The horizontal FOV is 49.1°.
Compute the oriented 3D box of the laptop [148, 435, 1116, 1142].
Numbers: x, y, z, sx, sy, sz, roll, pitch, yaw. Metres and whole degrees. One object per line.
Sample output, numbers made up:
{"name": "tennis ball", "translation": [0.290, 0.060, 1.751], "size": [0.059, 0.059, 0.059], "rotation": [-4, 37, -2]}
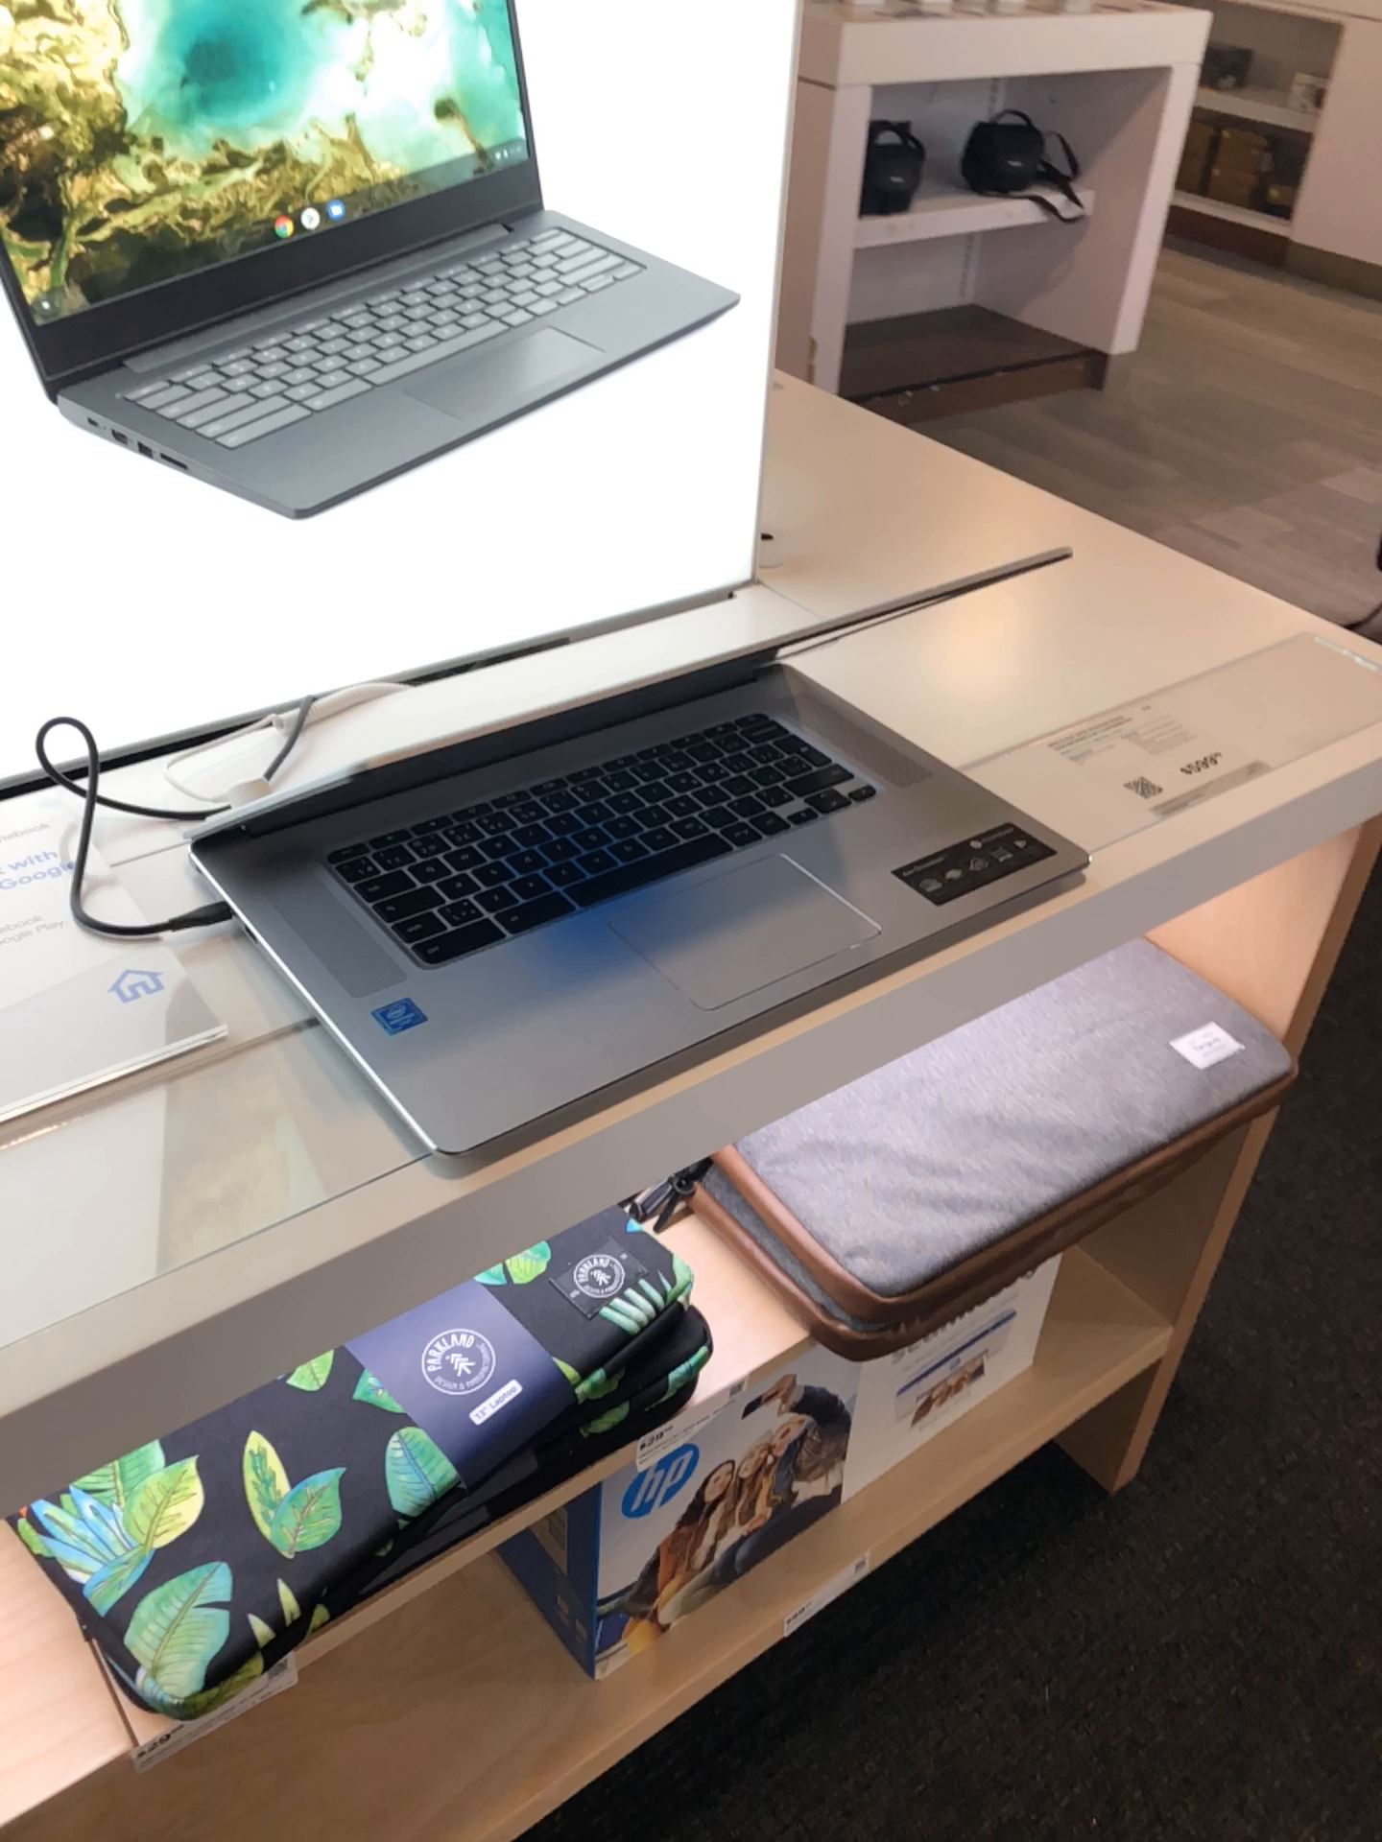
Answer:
{"name": "laptop", "translation": [-0.020, -0.092, 0.707], "size": [0.365, 0.146, 0.231], "rotation": [-22, 45, -33]}
